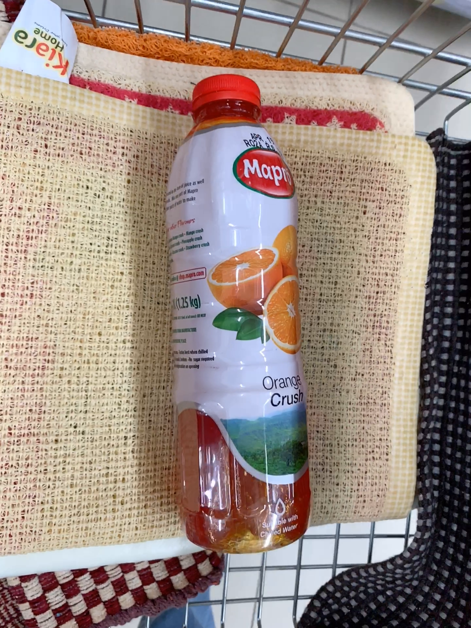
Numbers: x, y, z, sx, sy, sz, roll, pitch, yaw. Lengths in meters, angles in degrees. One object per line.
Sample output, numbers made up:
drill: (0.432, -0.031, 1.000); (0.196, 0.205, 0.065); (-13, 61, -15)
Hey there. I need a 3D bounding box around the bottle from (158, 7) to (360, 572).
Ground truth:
bottle: (0.011, -0.011, 0.259); (0.080, 0.070, 0.240); (1, 88, -38)
